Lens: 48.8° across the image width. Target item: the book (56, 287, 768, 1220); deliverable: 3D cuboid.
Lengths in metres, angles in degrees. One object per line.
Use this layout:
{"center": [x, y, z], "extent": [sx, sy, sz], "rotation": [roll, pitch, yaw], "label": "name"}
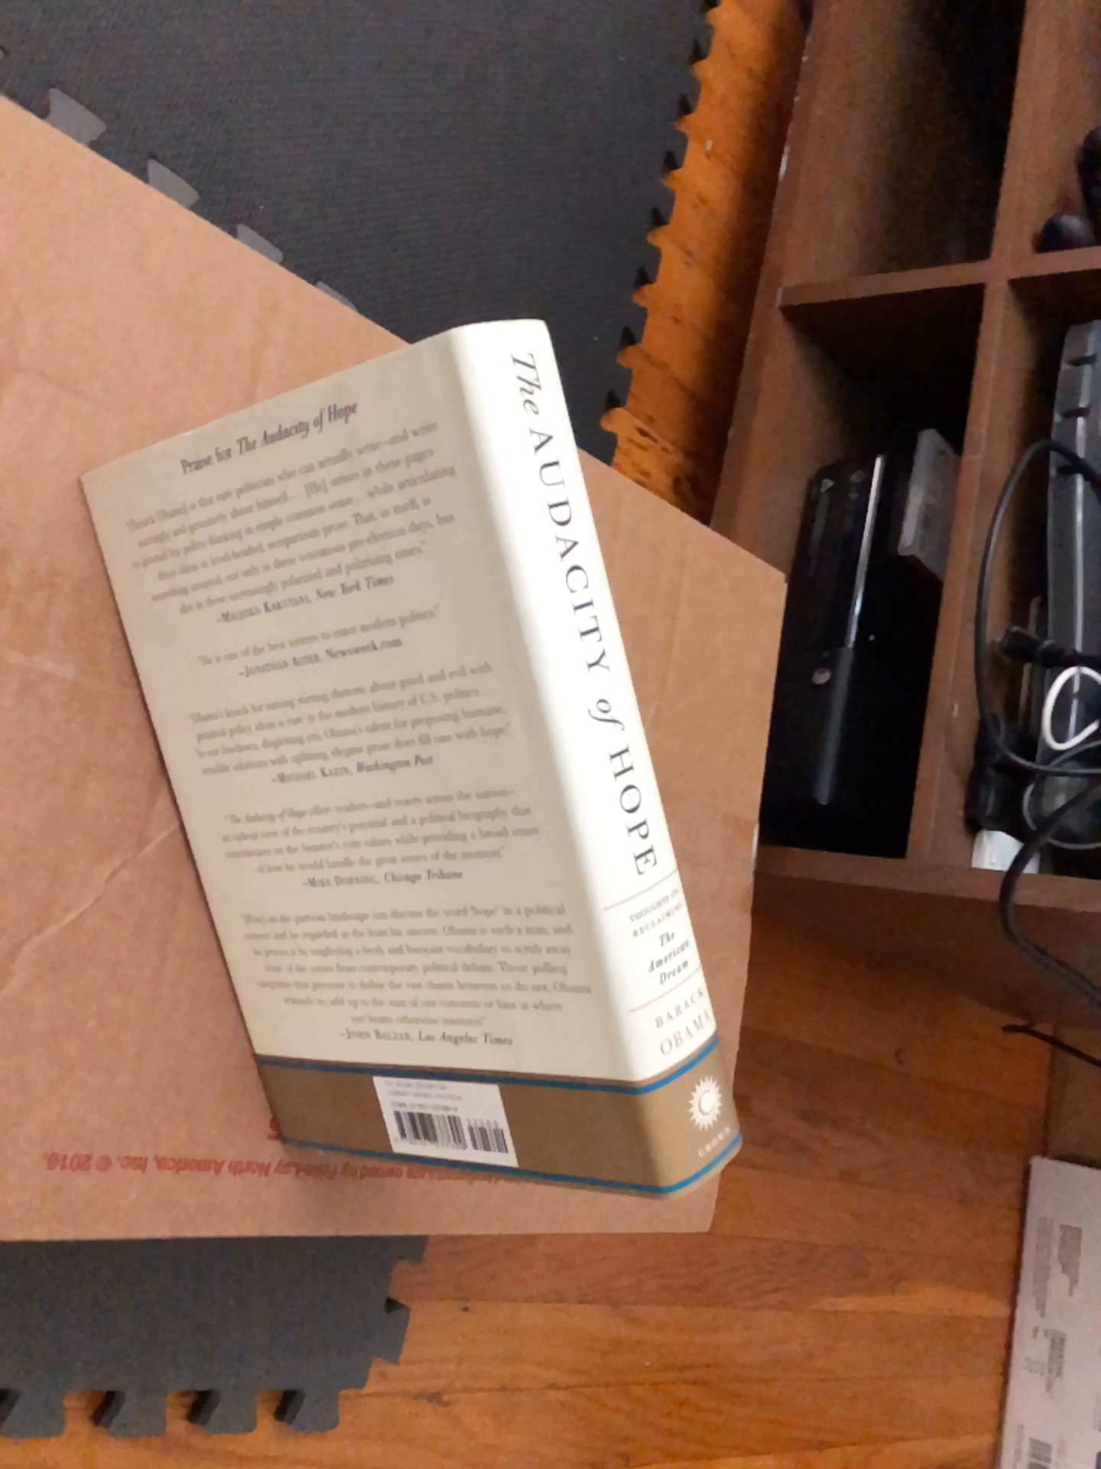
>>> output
{"center": [-0.045, 0.012, 0.384], "extent": [0.060, 0.169, 0.250], "rotation": [-26, 107, -53], "label": "book"}
